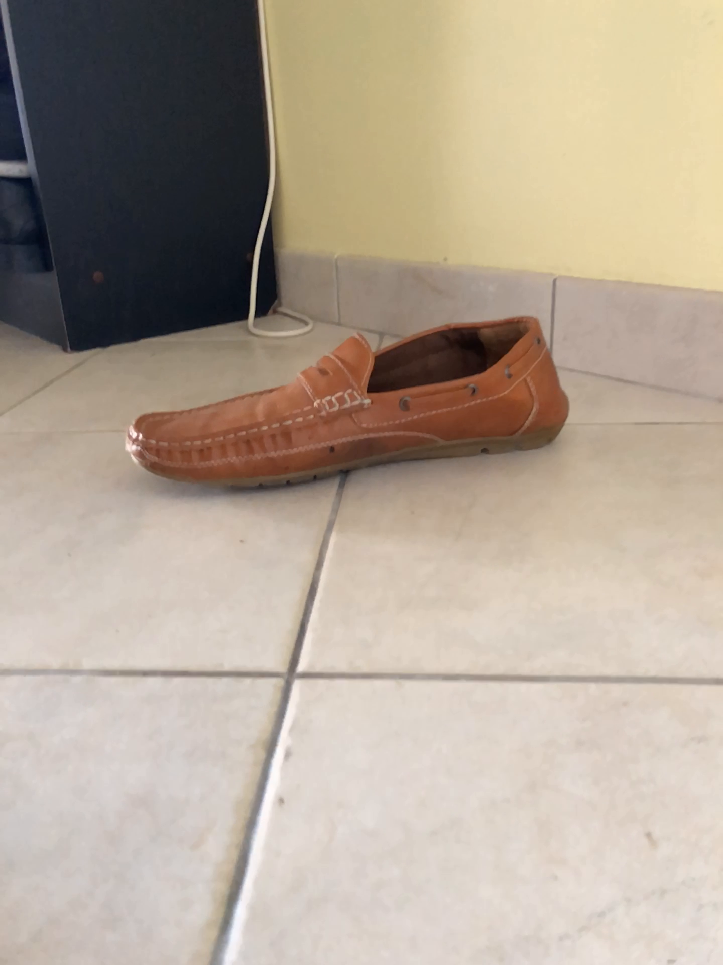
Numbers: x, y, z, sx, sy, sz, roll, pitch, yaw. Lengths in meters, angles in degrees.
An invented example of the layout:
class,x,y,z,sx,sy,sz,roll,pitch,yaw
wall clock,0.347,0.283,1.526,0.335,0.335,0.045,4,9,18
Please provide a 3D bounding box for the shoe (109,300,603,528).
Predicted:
class,x,y,z,sx,sy,sz,roll,pitch,yaw
shoe,-0.008,-0.055,0.500,0.280,0.070,0.130,-10,25,-15
